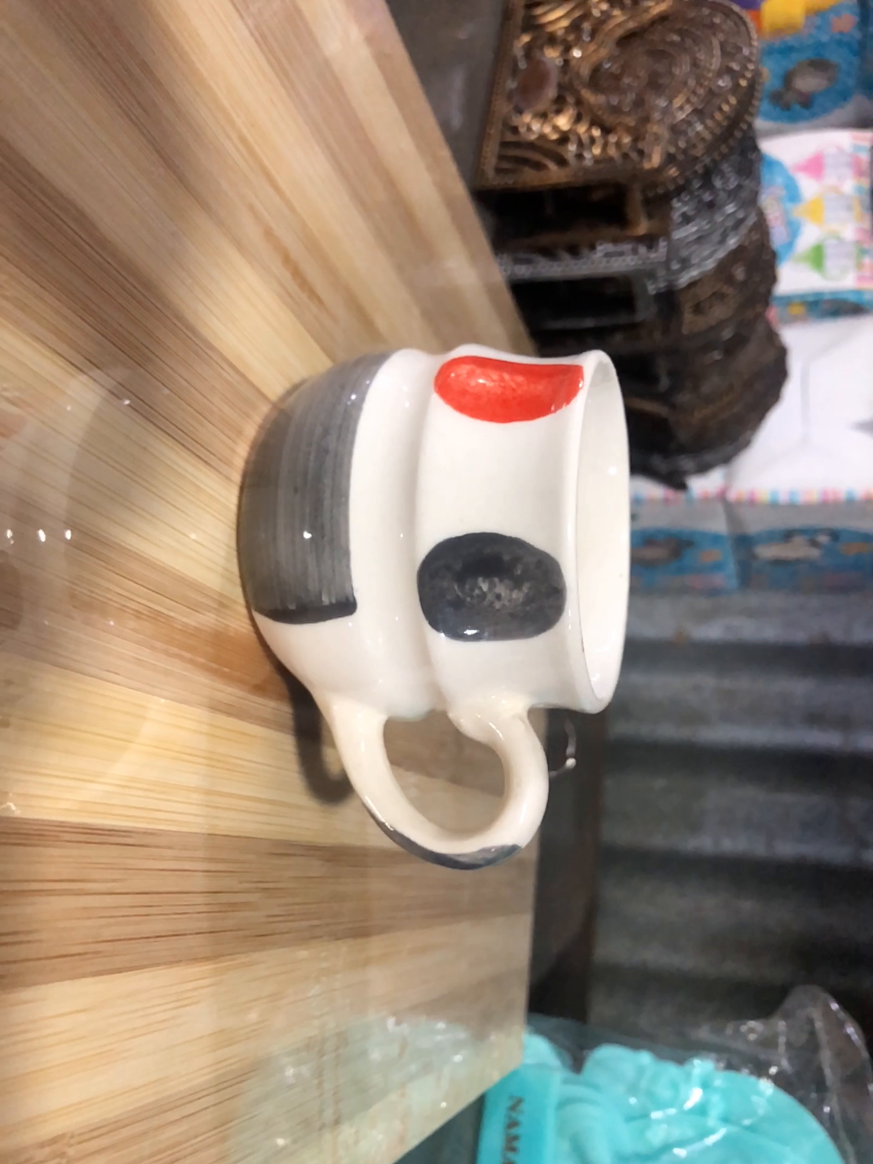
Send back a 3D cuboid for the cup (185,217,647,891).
[{"bbox_3d":[0.002,-0.004,0.169,0.060,0.060,0.090,8,83,-73],"label":"cup"}]
